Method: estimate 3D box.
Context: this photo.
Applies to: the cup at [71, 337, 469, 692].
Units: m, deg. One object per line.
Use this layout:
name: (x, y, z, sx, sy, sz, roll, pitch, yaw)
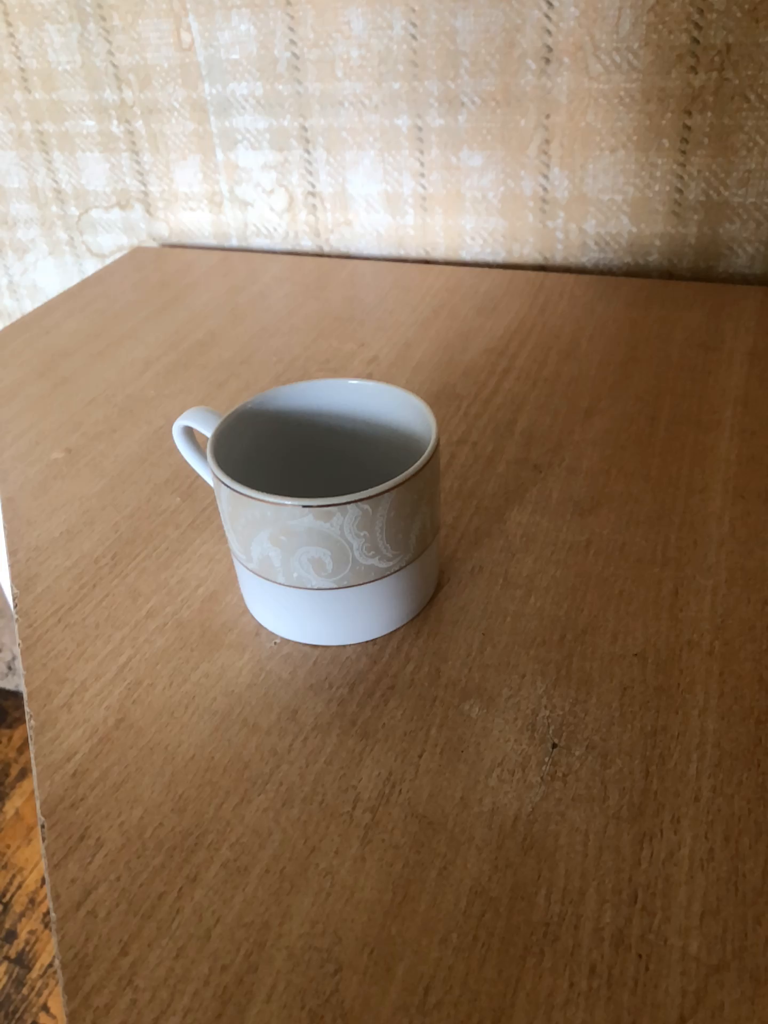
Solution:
cup: (-0.036, -0.006, 0.296, 0.105, 0.069, 0.075, 18, 42, 30)
